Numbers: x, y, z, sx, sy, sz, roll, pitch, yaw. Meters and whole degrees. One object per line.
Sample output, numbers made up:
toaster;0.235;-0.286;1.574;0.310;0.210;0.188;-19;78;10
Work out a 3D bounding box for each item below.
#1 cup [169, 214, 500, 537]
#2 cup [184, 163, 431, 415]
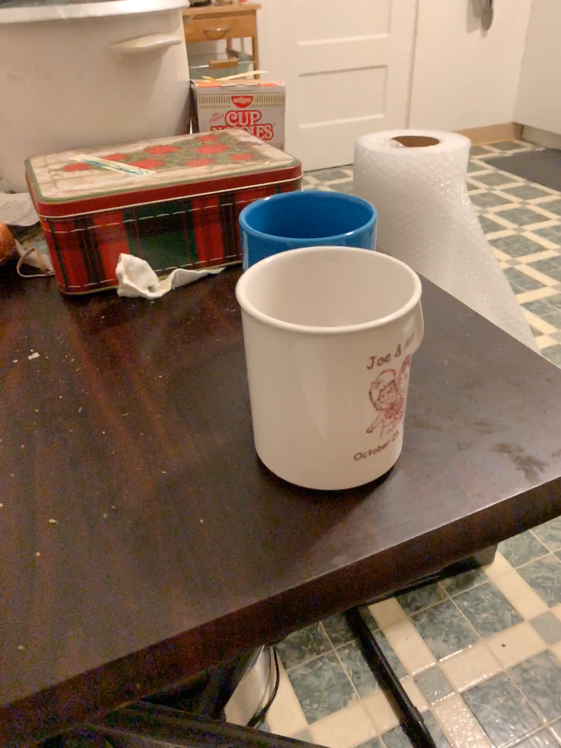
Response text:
cup;0.027;-0.009;0.284;0.120;0.089;0.090;-29;42;-31
cup;0.024;-0.065;0.379;0.090;0.099;0.140;20;41;29
